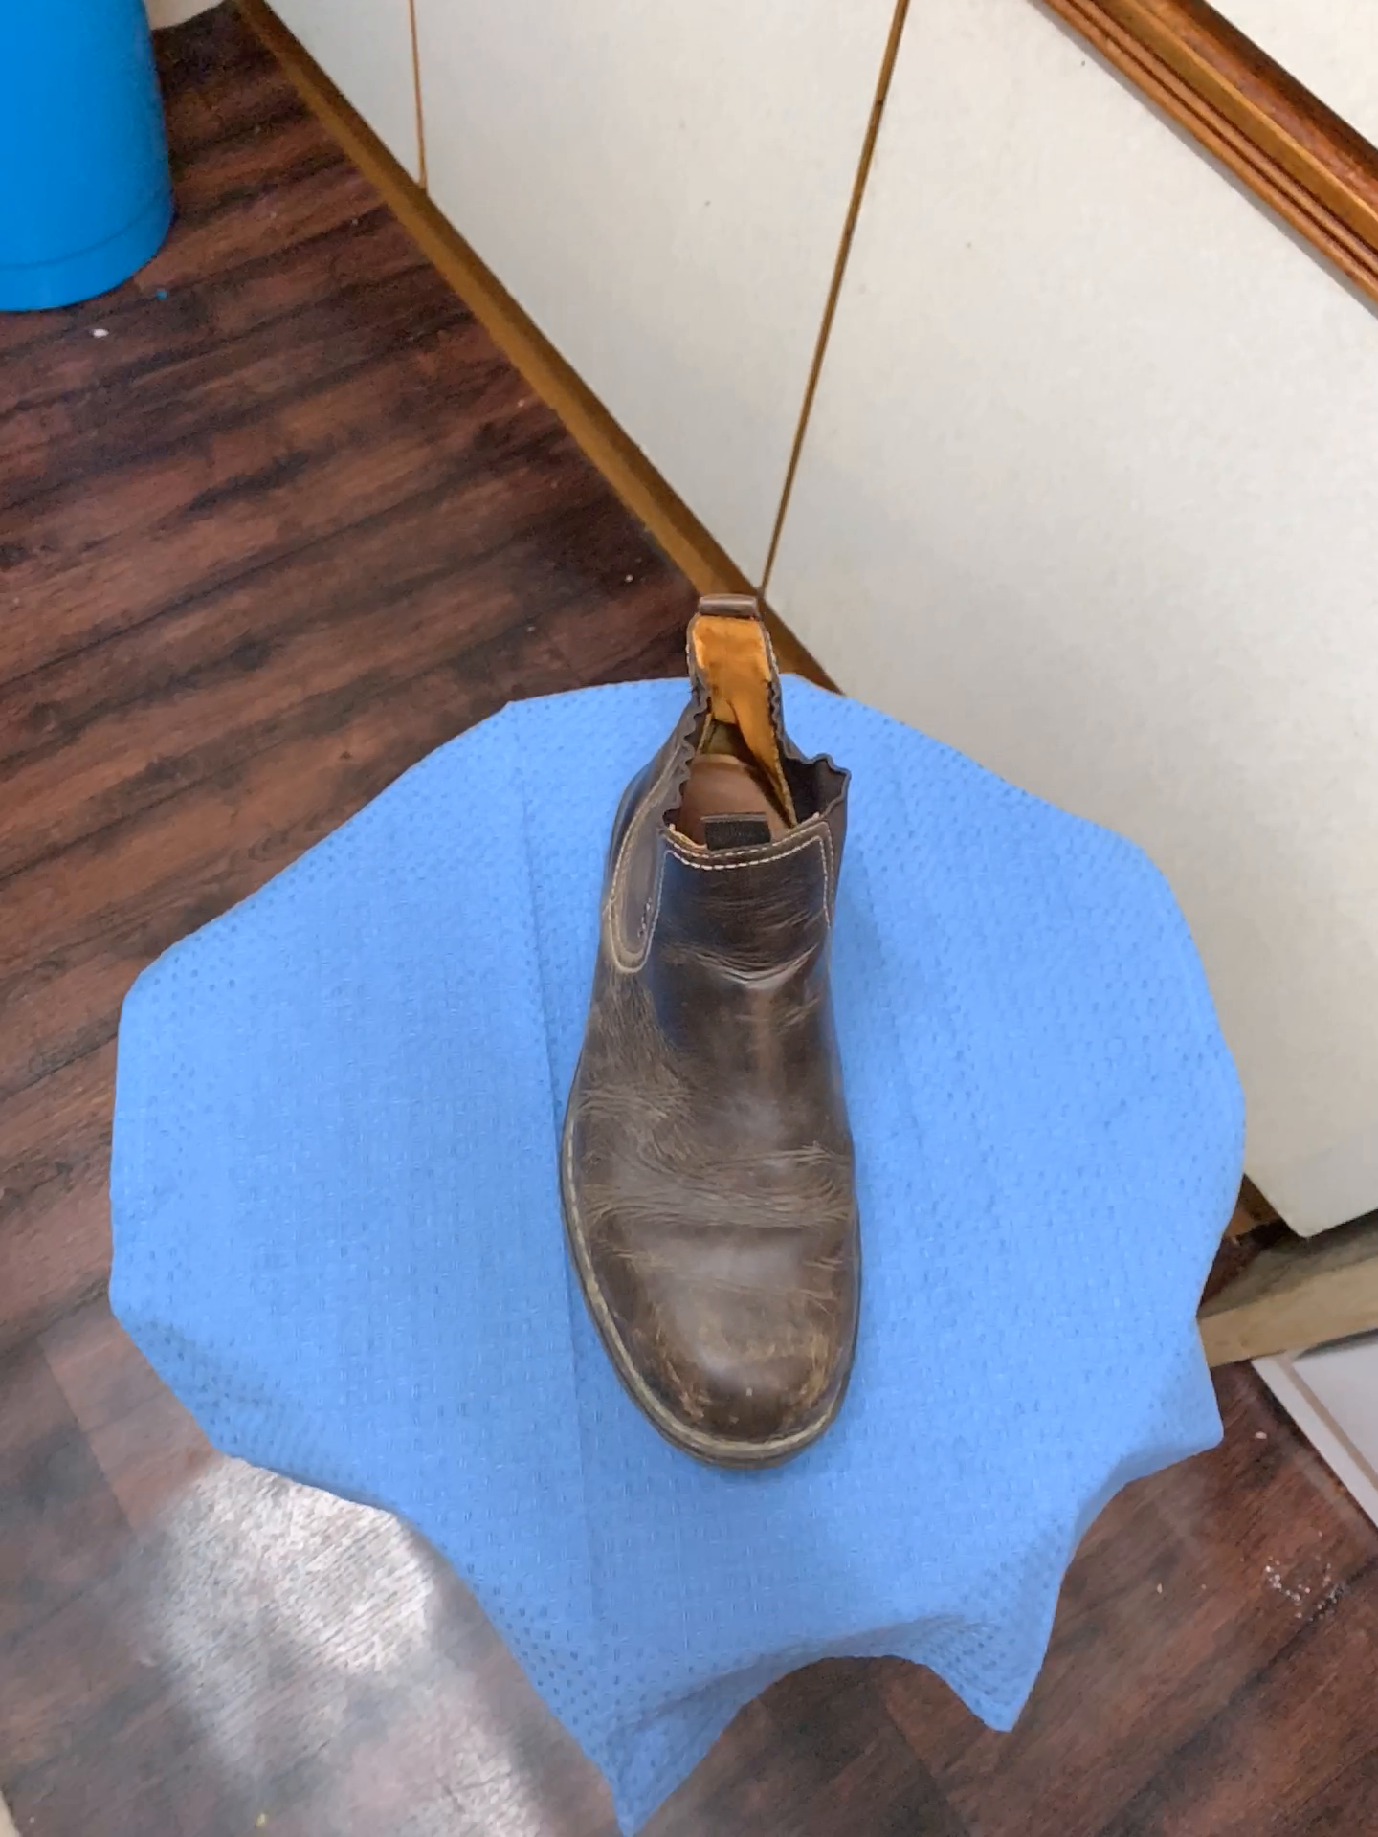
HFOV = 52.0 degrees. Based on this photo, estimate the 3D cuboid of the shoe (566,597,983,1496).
[{"bbox_3d":[0.012,0.049,0.502,0.105,0.157,0.280,0,65,-7],"label":"shoe"}]
